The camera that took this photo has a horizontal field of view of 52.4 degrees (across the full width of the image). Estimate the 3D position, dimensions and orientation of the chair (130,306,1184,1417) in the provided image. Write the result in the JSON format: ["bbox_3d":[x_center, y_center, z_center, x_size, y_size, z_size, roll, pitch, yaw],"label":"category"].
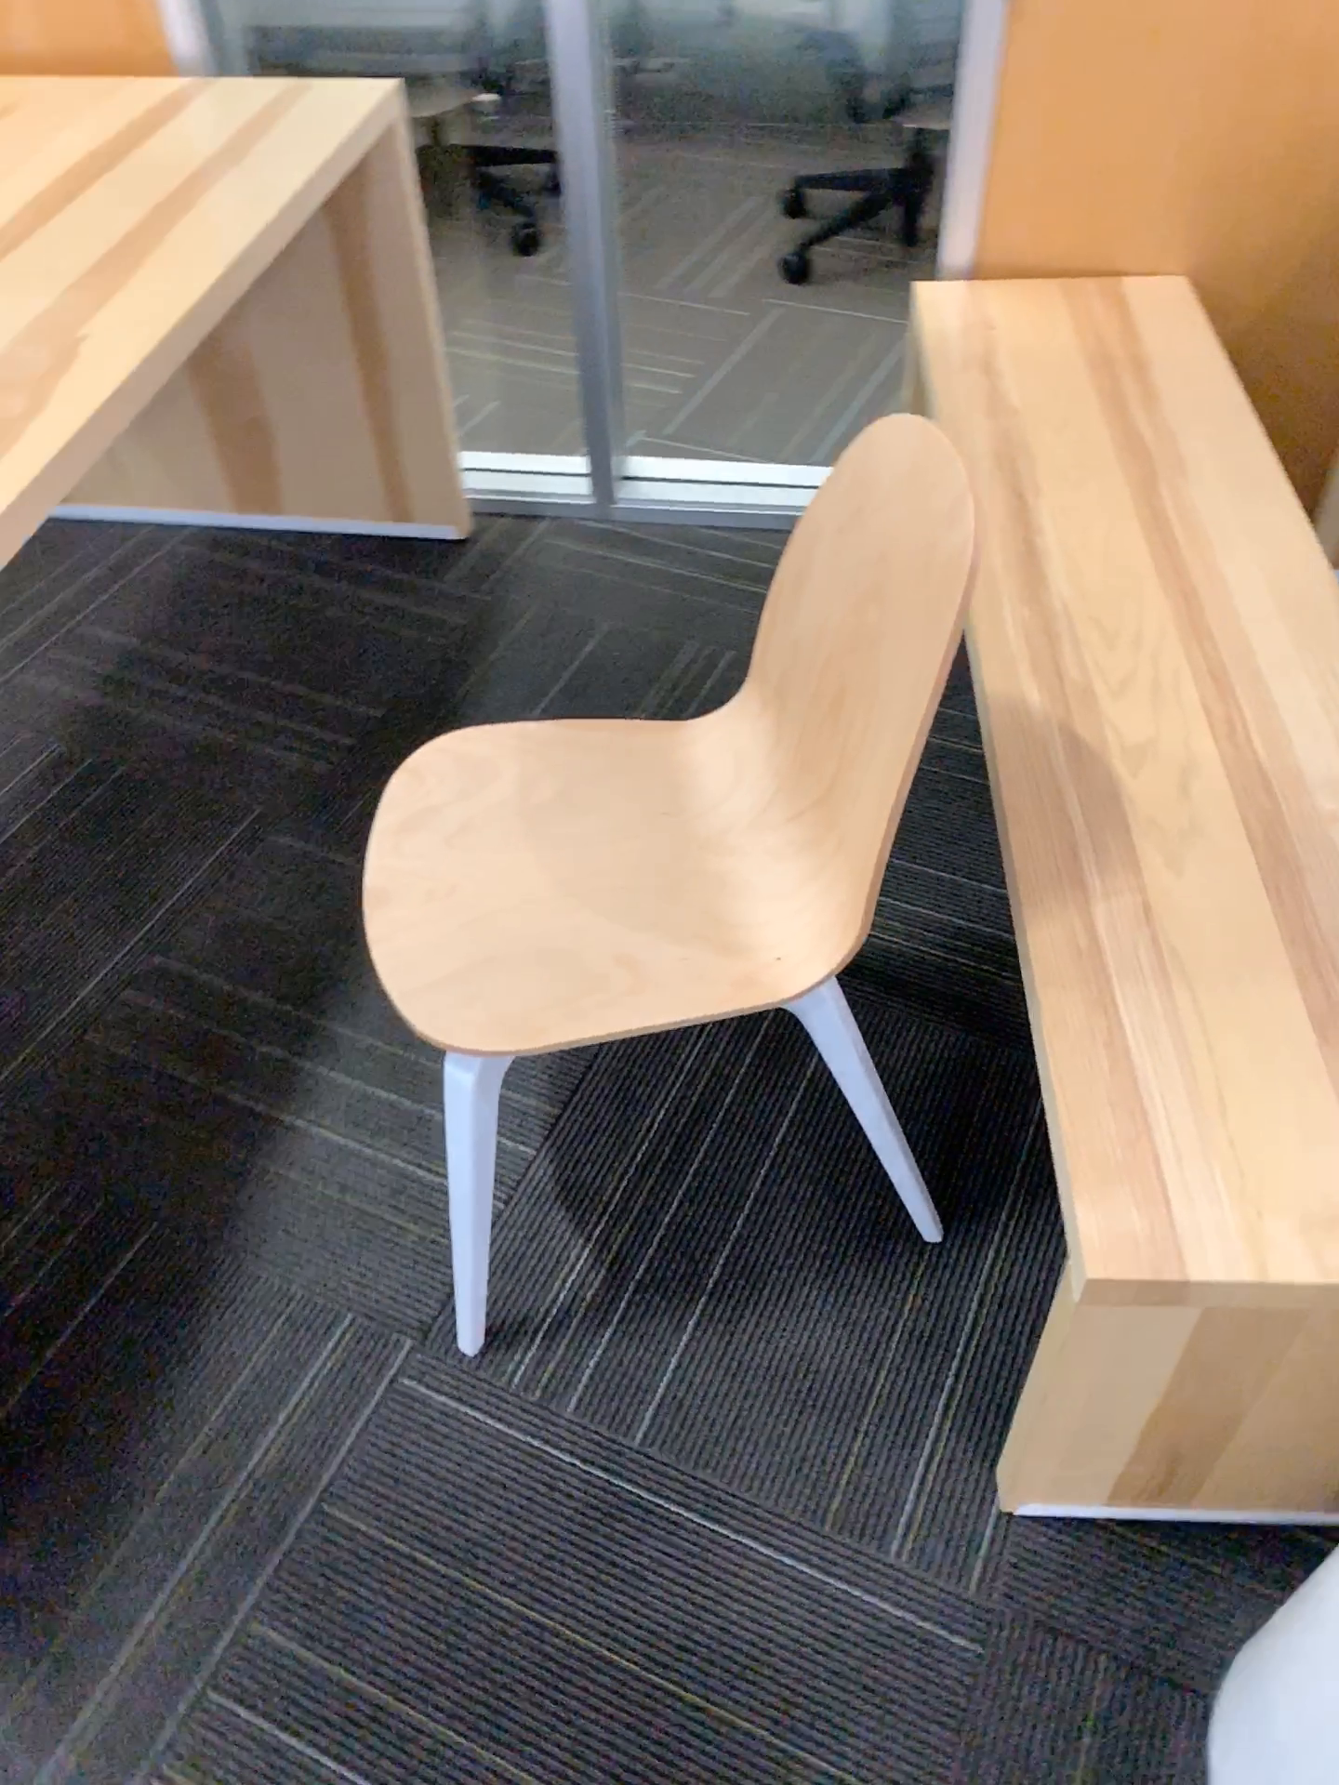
[{"bbox_3d":[-0.041,-0.008,1.265,0.650,0.766,0.523,-13,47,-9],"label":"chair"}]
